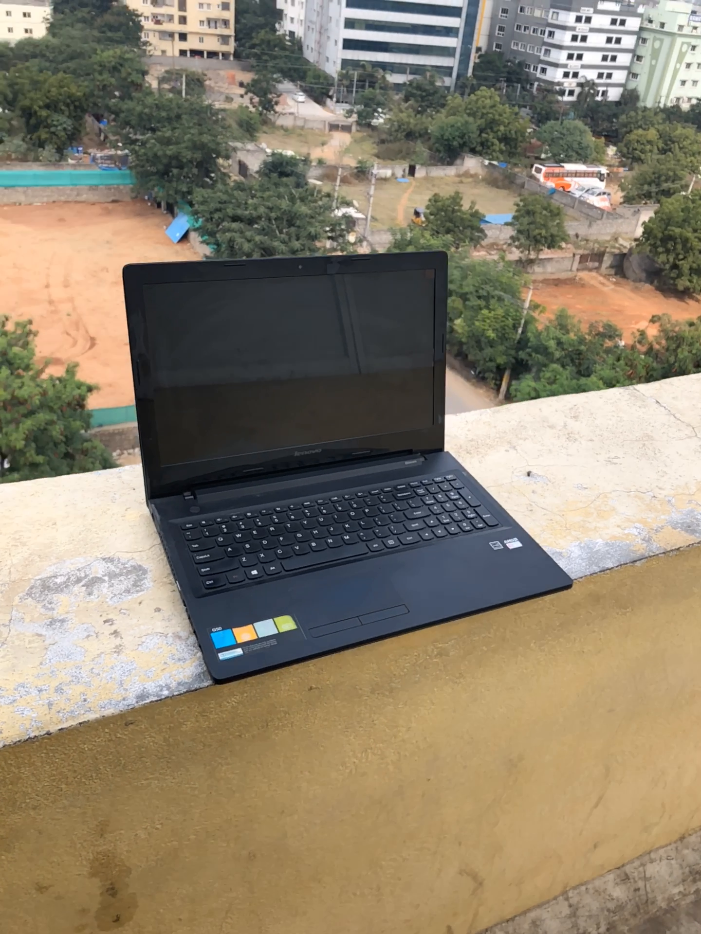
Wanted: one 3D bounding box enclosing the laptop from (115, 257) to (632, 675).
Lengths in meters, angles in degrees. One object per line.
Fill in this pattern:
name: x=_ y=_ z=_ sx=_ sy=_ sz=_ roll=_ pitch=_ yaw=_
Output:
laptop: x=-0.004 y=-0.038 z=0.768 sx=0.366 sy=0.229 sz=0.331 roll=-9 pitch=36 yaw=-25
